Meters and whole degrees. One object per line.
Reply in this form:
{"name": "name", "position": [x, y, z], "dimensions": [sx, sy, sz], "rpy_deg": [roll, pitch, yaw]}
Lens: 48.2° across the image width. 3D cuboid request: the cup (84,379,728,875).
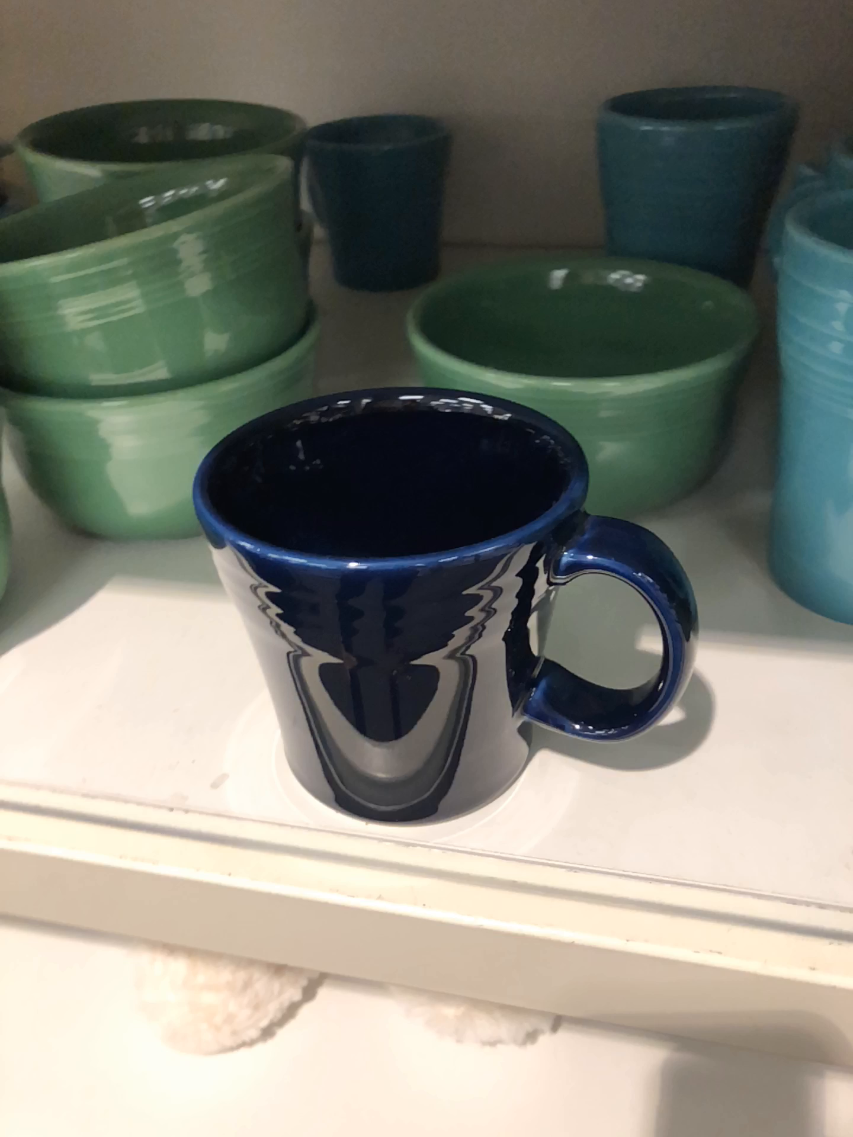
{"name": "cup", "position": [0.005, 0.008, 0.264], "dimensions": [0.143, 0.085, 0.094], "rpy_deg": [4, 37, 15]}
